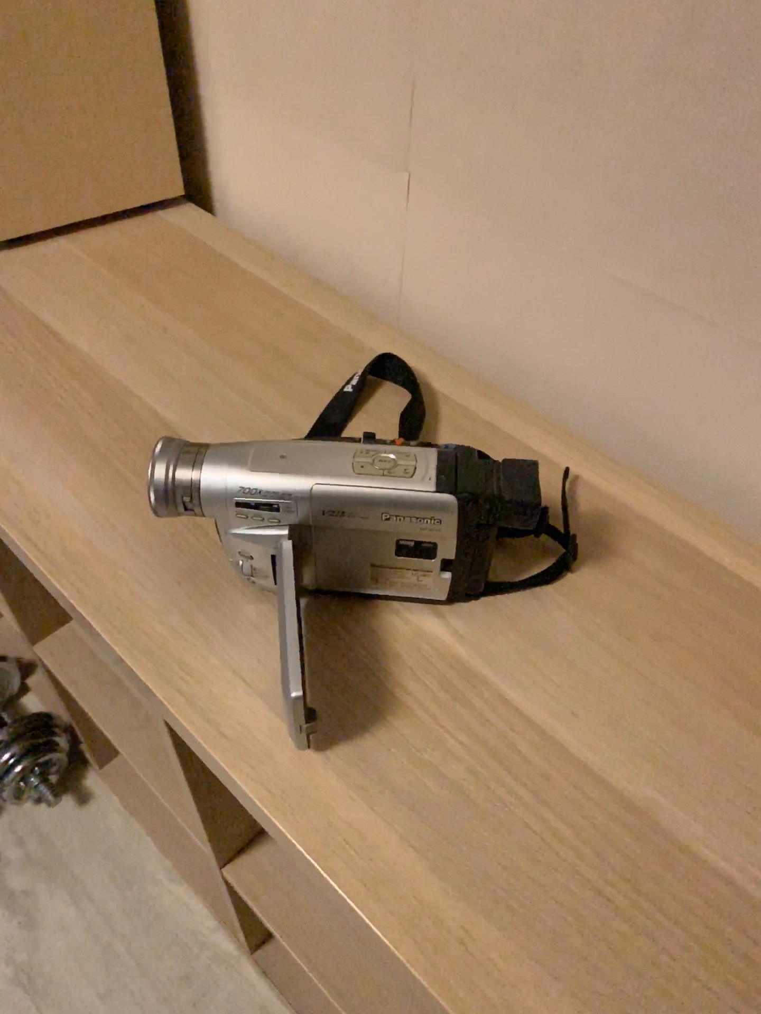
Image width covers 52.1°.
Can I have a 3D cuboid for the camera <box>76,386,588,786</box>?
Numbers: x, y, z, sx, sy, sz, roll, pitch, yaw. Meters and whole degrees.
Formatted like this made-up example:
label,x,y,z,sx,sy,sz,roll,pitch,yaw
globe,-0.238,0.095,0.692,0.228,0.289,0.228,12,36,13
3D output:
label,x,y,z,sx,sy,sz,roll,pitch,yaw
camera,-0.020,0.041,0.481,0.245,0.109,0.204,4,47,1
